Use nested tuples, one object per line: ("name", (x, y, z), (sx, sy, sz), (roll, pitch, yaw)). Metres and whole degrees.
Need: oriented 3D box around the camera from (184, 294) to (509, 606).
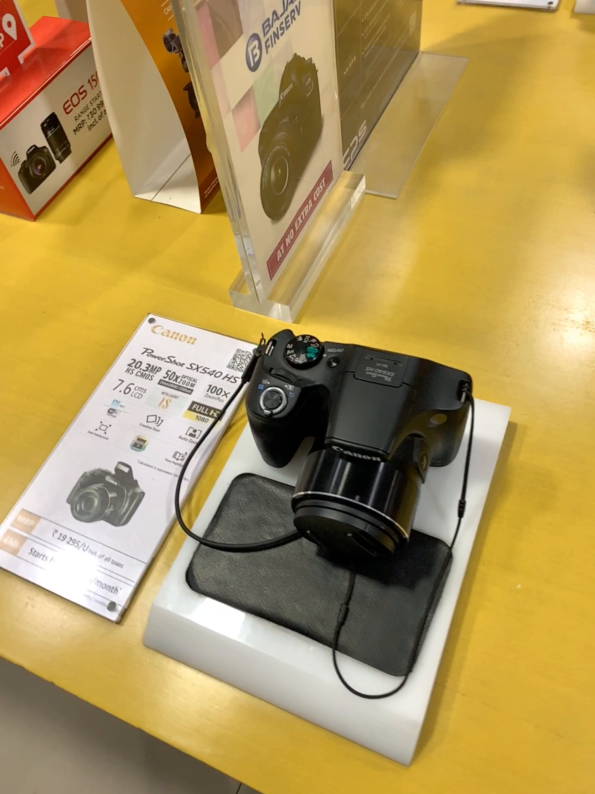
("camera", (0.029, 0.023, 0.308), (0.120, 0.070, 0.110), (14, 61, 17))
